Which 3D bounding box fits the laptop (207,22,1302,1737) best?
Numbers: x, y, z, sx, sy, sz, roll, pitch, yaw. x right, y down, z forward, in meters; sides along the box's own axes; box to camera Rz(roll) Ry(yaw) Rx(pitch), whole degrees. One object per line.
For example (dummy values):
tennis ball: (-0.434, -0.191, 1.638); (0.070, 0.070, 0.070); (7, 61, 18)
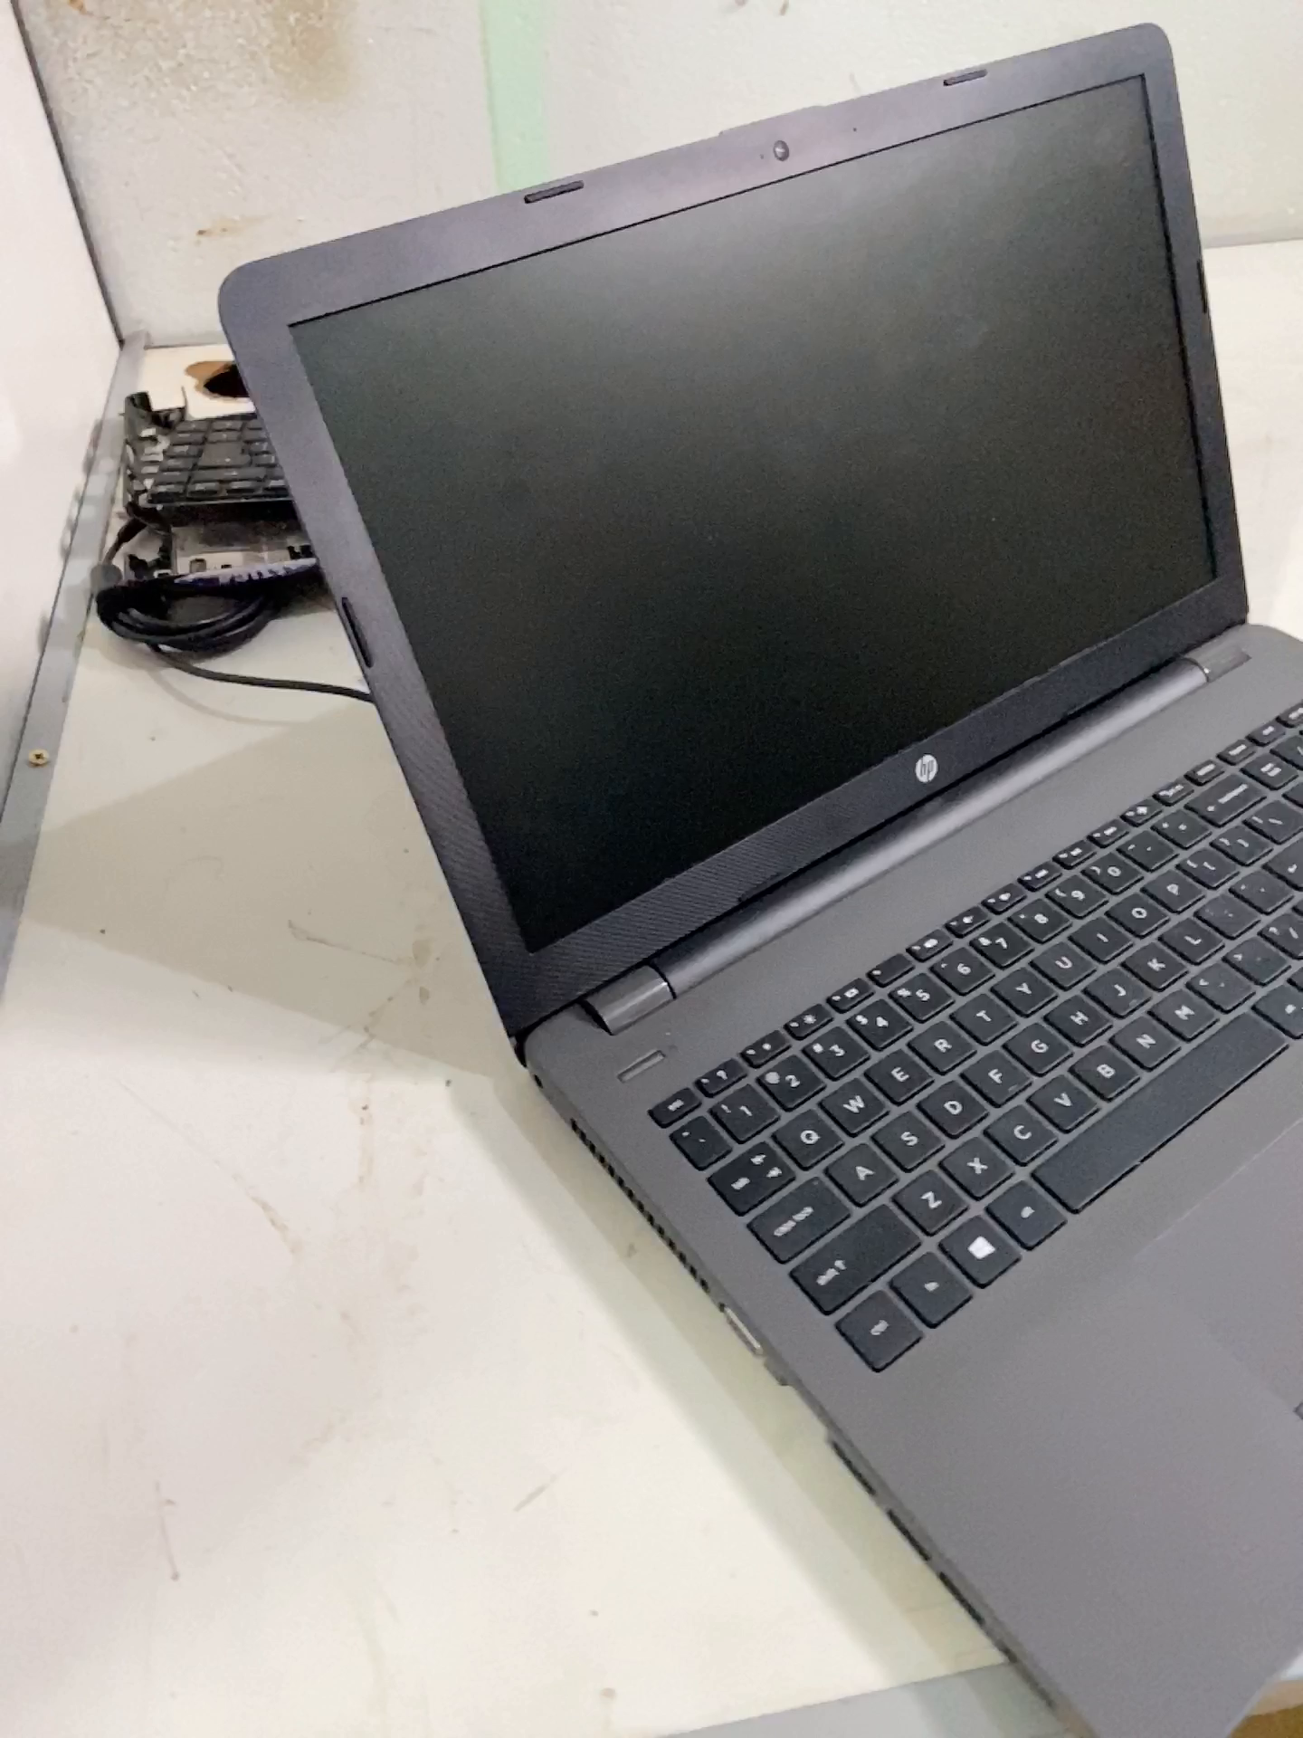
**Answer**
laptop: (0.148, -0.061, 0.395); (0.381, 0.206, 0.365); (-29, 51, -24)
